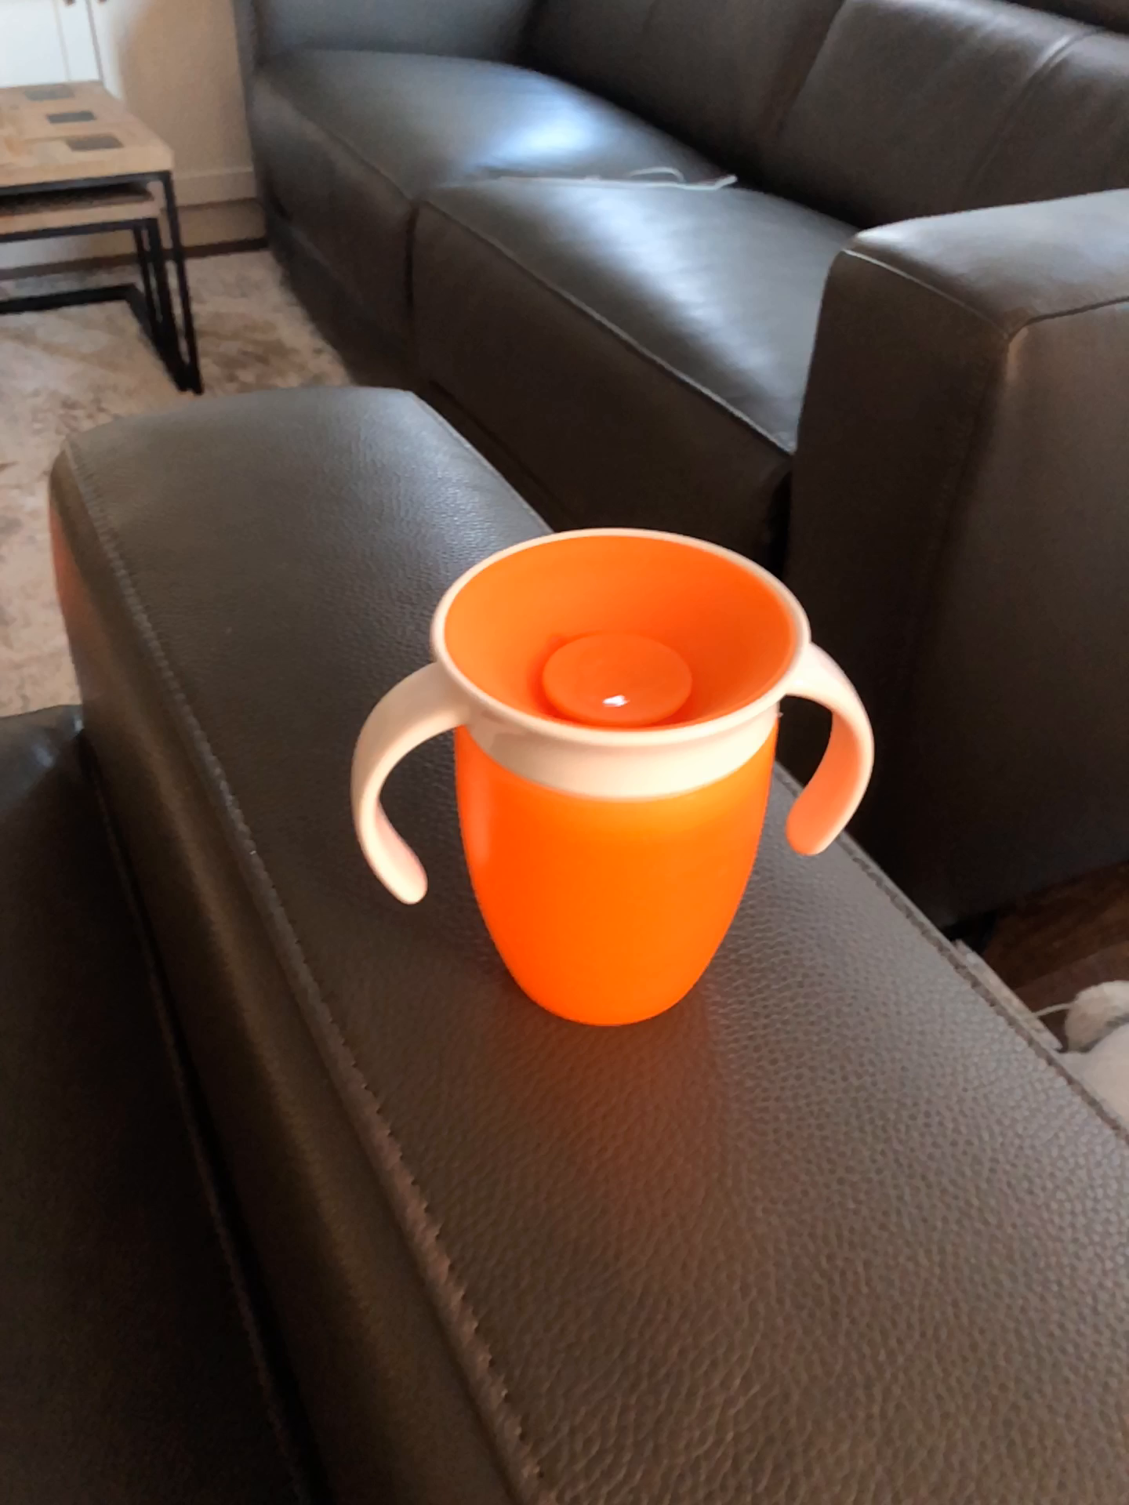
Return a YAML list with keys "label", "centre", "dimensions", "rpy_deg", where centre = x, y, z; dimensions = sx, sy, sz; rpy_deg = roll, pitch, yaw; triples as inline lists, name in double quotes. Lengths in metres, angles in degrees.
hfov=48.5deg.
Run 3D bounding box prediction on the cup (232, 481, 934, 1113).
- label: "cup"
  centre: [-0.002, 0.006, 0.287]
  dimensions: [0.126, 0.096, 0.083]
  rpy_deg: [-9, 40, -13]
